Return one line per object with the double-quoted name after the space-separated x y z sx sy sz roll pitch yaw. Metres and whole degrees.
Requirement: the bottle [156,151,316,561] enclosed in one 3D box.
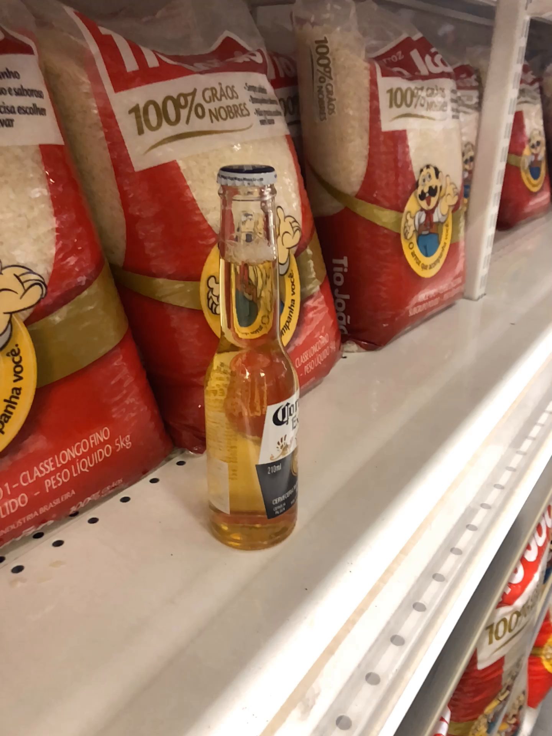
-0.017 -0.003 0.316 0.060 0.199 0.060 1 24 0 "bottle"
